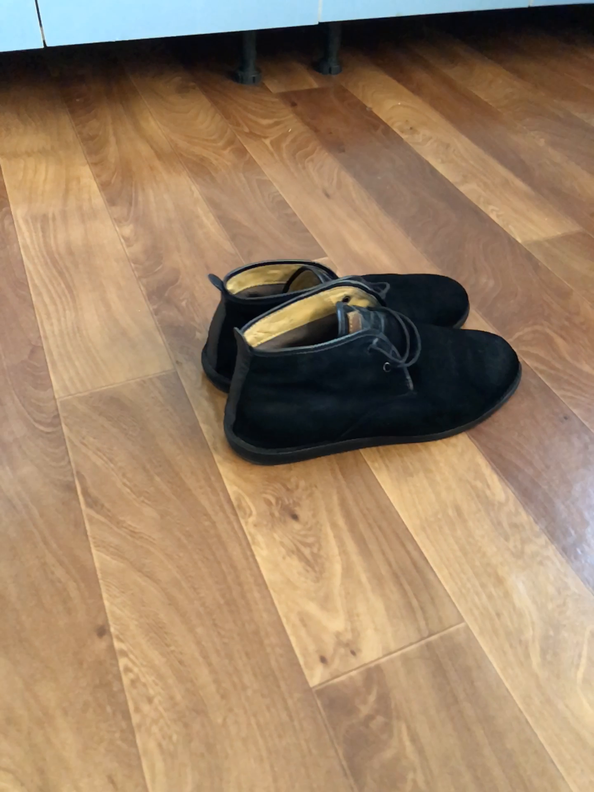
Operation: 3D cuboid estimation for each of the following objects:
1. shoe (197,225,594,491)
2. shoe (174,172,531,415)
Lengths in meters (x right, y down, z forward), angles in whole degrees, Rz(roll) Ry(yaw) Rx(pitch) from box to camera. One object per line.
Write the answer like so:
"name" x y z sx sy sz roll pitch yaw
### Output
"shoe" 0.077 -0.037 0.534 0.290 0.129 0.111 -11 48 -15
"shoe" 0.048 -0.103 0.607 0.290 0.129 0.111 -15 49 -19
